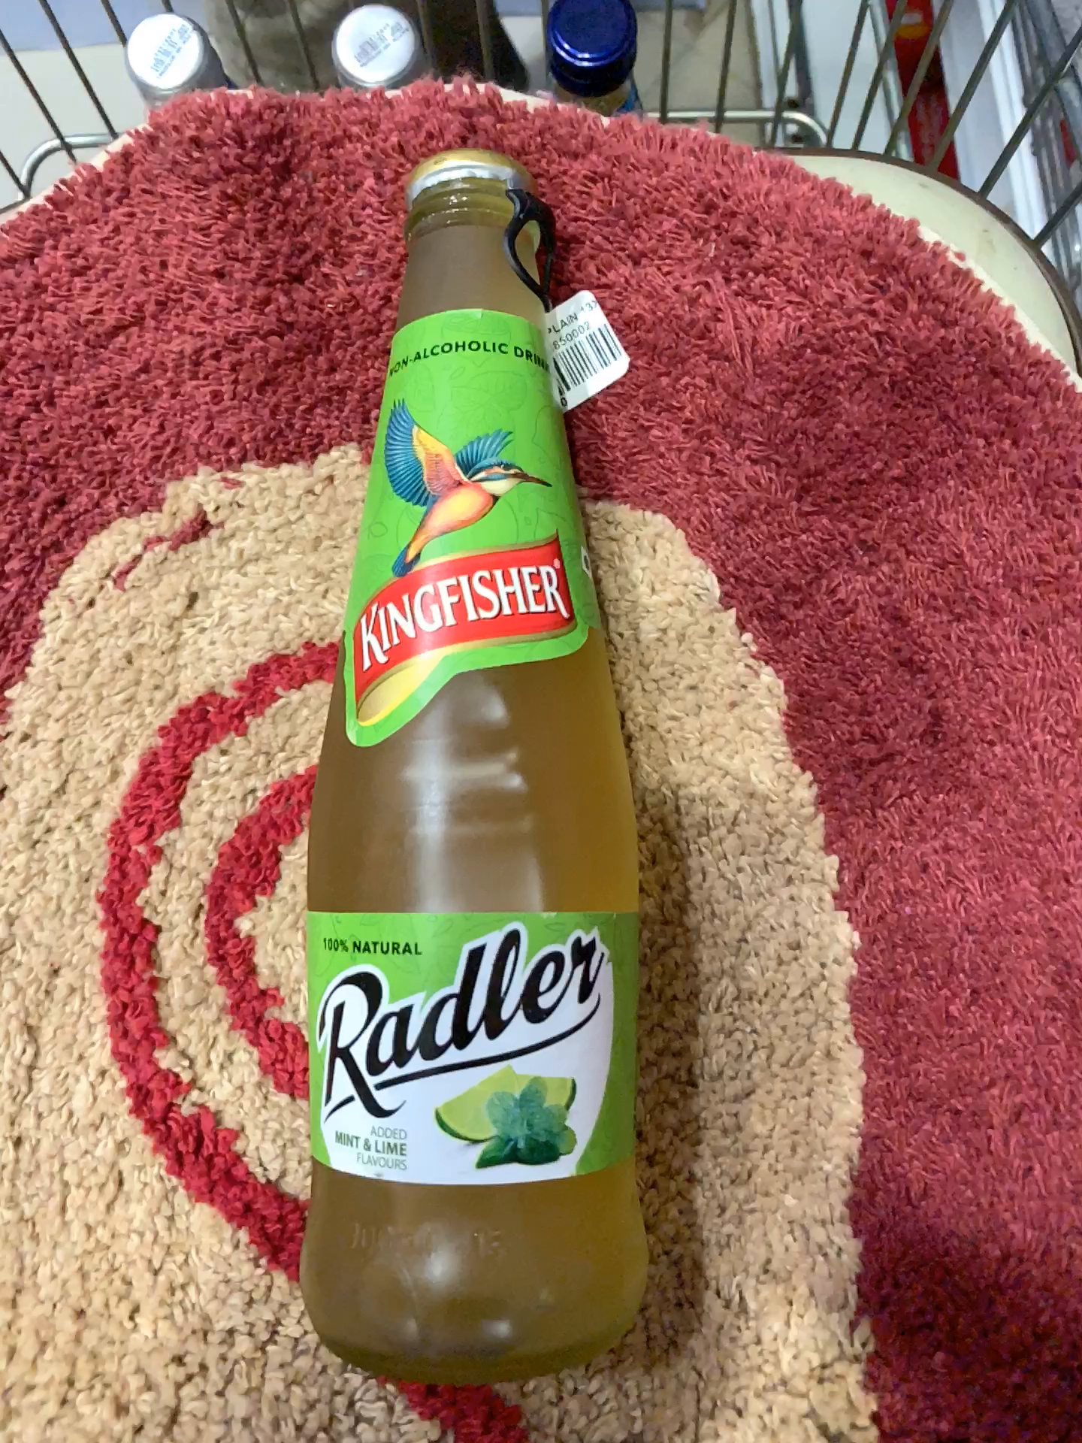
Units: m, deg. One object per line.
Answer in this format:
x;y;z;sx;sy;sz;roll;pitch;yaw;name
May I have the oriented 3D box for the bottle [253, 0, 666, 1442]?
-0.013;-0.010;0.211;0.060;0.060;0.240;-2;80;4;bottle
